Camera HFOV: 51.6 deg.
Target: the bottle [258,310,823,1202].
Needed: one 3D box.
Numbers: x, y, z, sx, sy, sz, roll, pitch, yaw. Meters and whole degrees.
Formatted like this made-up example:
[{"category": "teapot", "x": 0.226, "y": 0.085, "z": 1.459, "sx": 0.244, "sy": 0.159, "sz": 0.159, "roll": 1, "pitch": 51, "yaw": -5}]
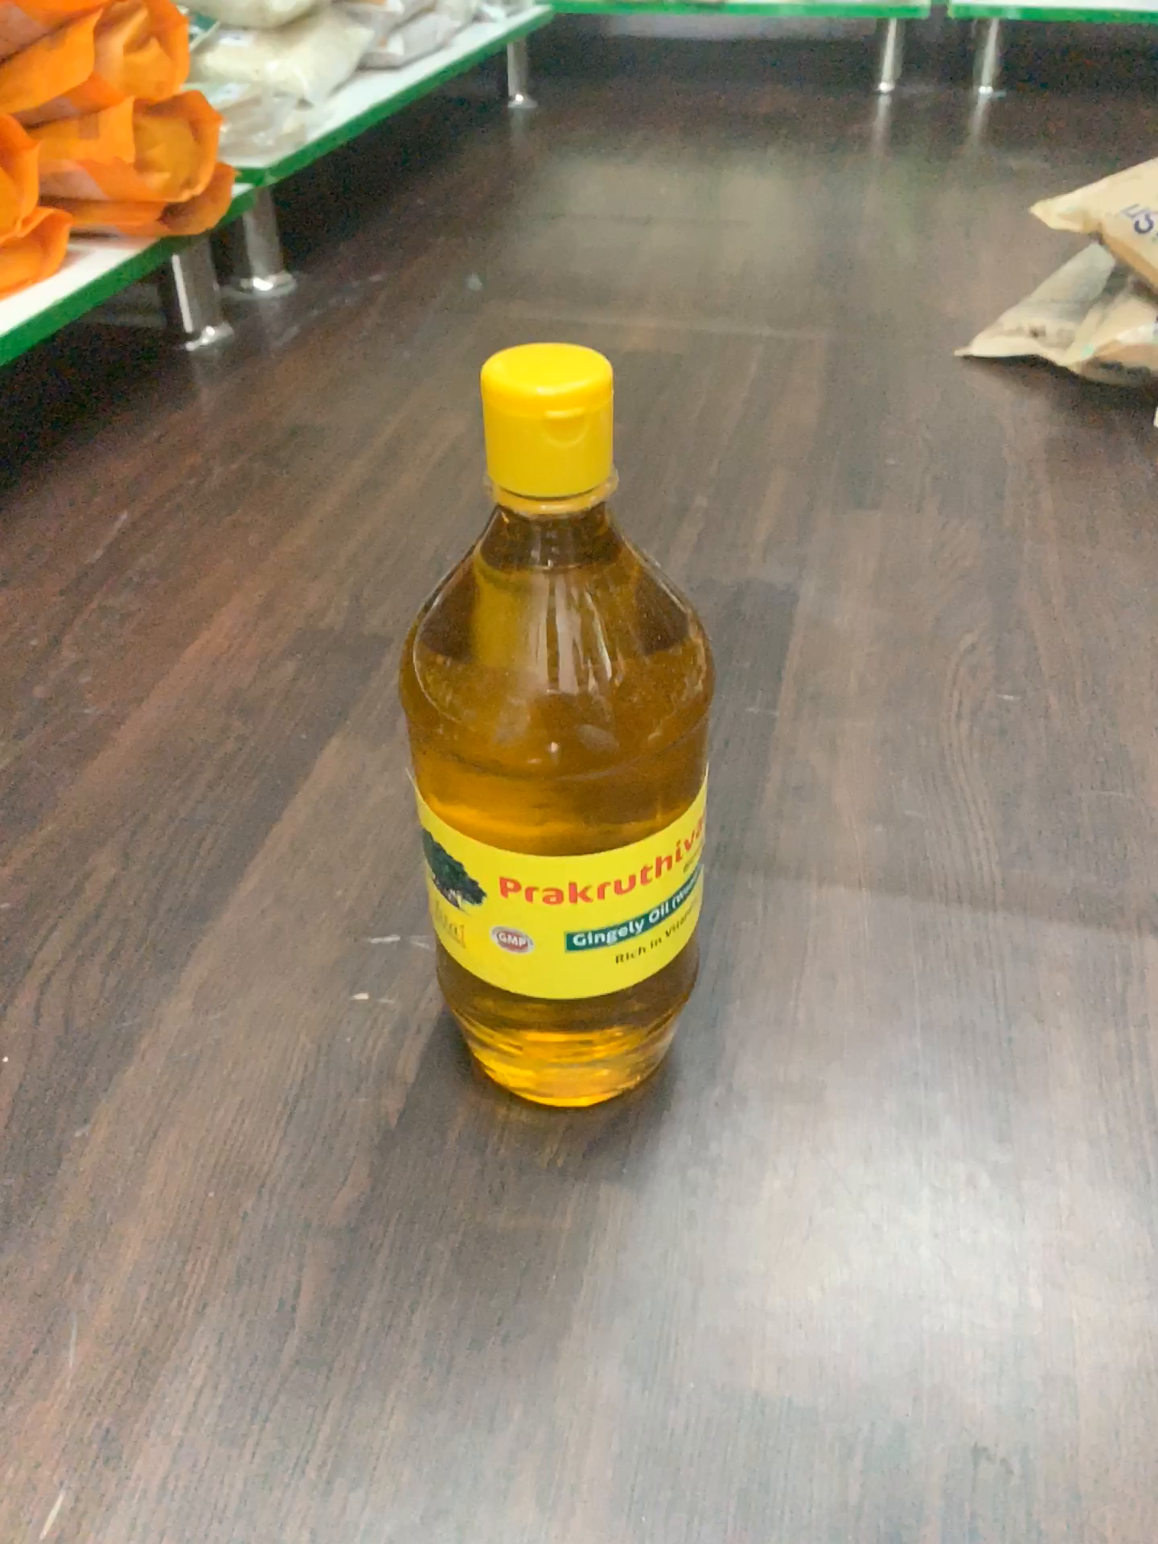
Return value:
[{"category": "bottle", "x": -0.005, "y": 0.003, "z": 0.337, "sx": 0.090, "sy": 0.219, "sz": 0.090, "roll": -1, "pitch": 39, "yaw": 1}]
